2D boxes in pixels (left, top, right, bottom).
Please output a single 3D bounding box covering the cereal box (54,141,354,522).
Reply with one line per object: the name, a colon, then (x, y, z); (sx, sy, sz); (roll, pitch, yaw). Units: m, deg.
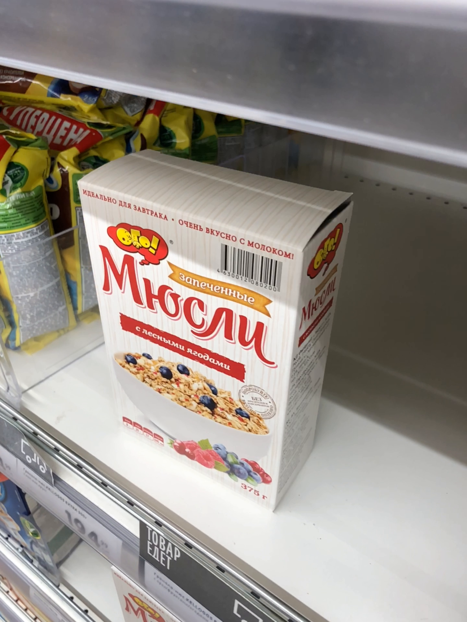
cereal box: (-0.017, 0.016, 0.318); (0.140, 0.199, 0.060); (20, 41, 25)
